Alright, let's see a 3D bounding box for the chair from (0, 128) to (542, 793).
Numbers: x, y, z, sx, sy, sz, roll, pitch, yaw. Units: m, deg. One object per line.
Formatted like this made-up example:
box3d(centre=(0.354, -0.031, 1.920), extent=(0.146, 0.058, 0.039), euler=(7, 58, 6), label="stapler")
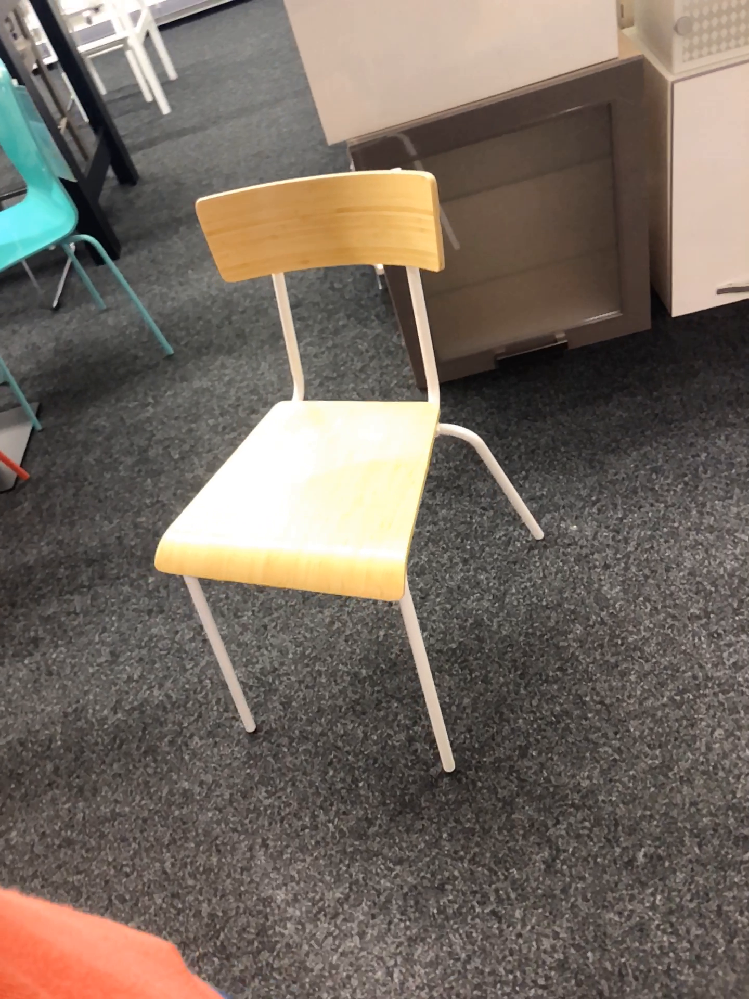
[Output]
box3d(centre=(-0.098, -0.028, 1.328), extent=(0.540, 0.816, 0.583), euler=(2, 48, 23), label="chair")
